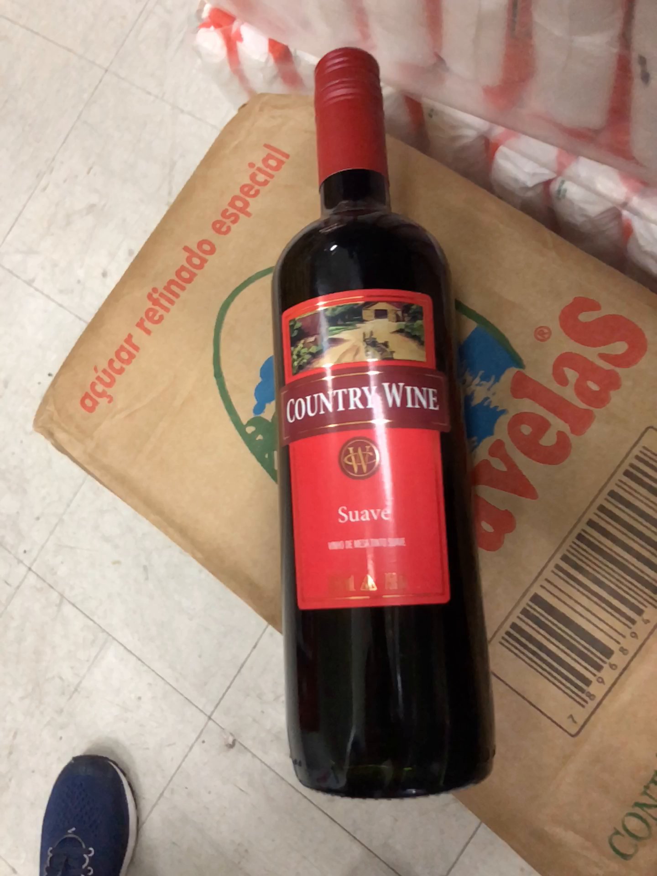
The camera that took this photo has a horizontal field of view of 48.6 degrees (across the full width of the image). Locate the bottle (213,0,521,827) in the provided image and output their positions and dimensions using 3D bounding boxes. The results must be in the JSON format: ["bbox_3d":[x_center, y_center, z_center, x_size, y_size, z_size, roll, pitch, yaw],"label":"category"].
[{"bbox_3d":[0.014,-0.021,0.274,0.080,0.060,0.290,-7,81,15],"label":"bottle"}]
